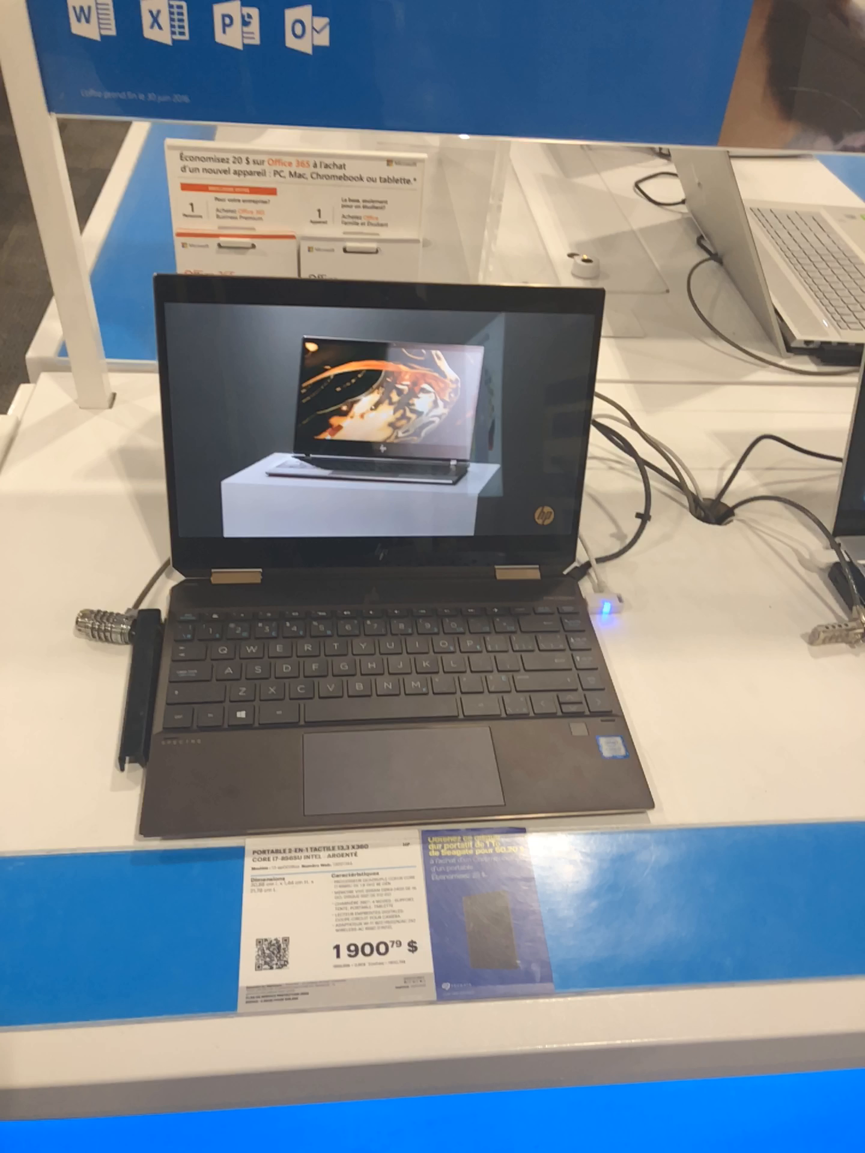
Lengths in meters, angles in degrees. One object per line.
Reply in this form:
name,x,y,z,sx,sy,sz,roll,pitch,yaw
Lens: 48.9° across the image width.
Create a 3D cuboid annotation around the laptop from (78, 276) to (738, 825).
laptop,-0.027,-0.026,0.597,0.297,0.197,0.286,-1,41,-8
